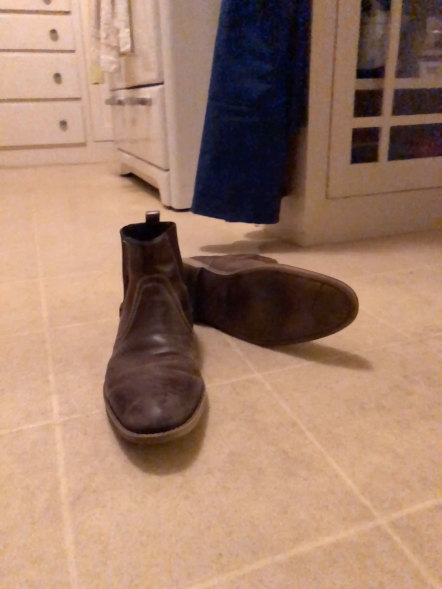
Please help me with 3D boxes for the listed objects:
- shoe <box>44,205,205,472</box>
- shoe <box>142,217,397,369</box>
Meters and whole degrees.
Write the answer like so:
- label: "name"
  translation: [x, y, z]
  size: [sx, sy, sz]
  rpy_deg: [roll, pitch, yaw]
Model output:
- label: "shoe"
  translation: [-0.076, 0.015, 0.531]
  size: [0.111, 0.160, 0.315]
  rpy_deg: [-1, 22, -1]
- label: "shoe"
  translation: [0.059, -0.023, 0.693]
  size: [0.313, 0.111, 0.162]
  rpy_deg: [15, 25, 35]
